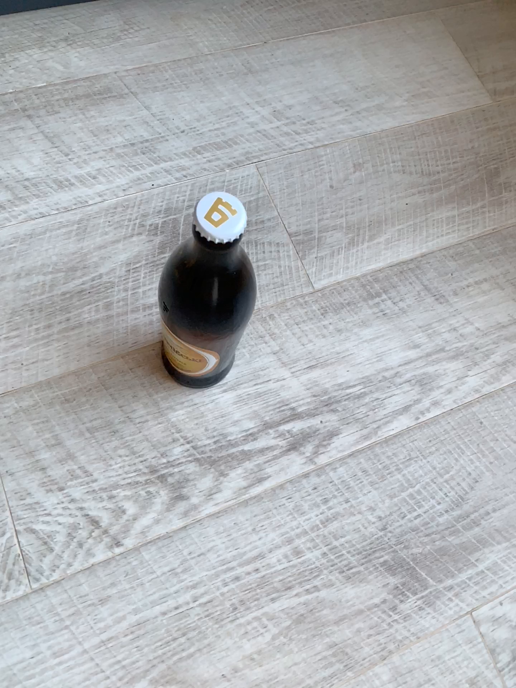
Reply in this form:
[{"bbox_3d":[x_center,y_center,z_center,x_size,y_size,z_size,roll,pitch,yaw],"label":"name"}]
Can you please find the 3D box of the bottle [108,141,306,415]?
[{"bbox_3d":[-0.041,-0.023,0.367,0.070,0.230,0.070,3,70,-8],"label":"bottle"}]
